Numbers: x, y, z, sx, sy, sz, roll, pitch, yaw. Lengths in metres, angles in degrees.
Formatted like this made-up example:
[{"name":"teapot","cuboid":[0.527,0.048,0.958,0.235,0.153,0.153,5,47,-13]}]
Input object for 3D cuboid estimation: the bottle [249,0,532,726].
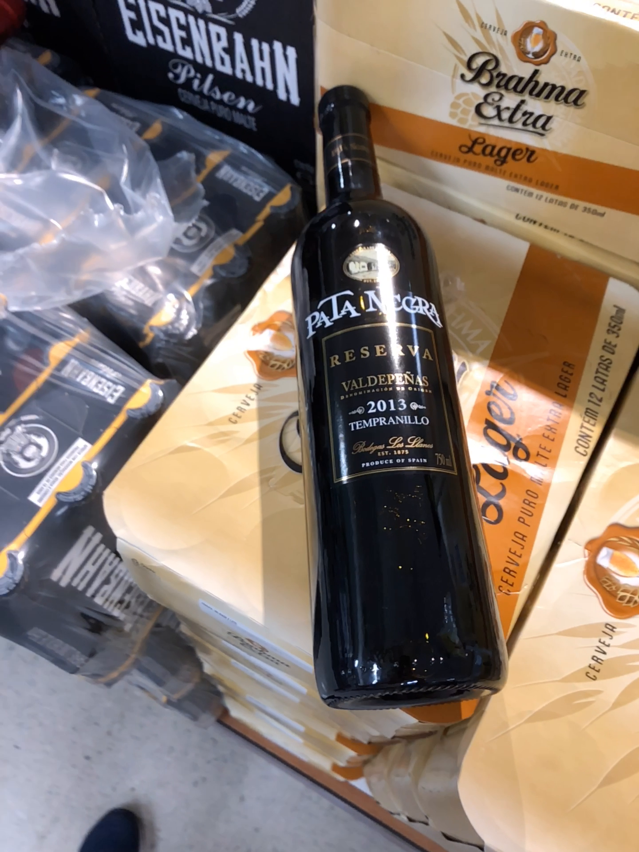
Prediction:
[{"name":"bottle","cuboid":[0.014,-0.069,0.338,0.080,0.080,0.381,-4,64,0]}]
